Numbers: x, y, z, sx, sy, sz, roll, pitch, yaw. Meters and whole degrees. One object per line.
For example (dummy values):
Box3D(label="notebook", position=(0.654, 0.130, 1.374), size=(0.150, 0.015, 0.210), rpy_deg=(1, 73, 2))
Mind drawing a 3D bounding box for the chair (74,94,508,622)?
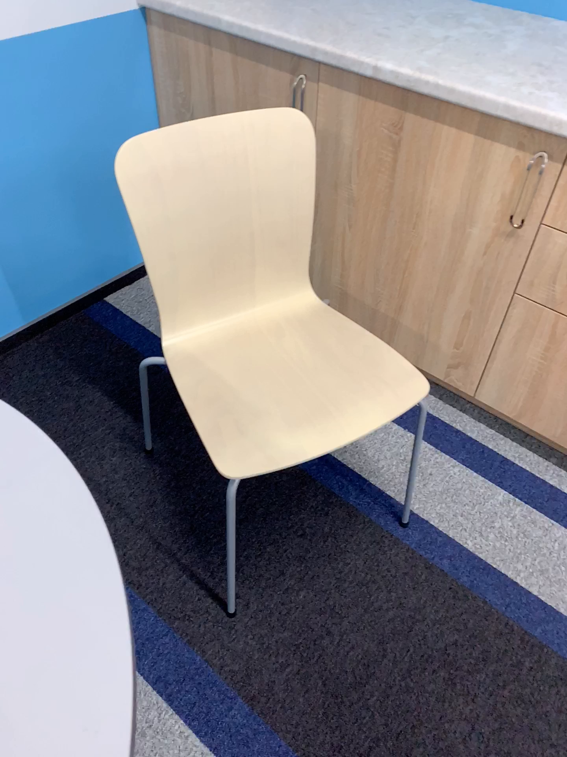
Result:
Box3D(label="chair", position=(-0.033, -0.030, 1.212), size=(0.477, 0.836, 0.572), rpy_deg=(-20, 48, -21))
